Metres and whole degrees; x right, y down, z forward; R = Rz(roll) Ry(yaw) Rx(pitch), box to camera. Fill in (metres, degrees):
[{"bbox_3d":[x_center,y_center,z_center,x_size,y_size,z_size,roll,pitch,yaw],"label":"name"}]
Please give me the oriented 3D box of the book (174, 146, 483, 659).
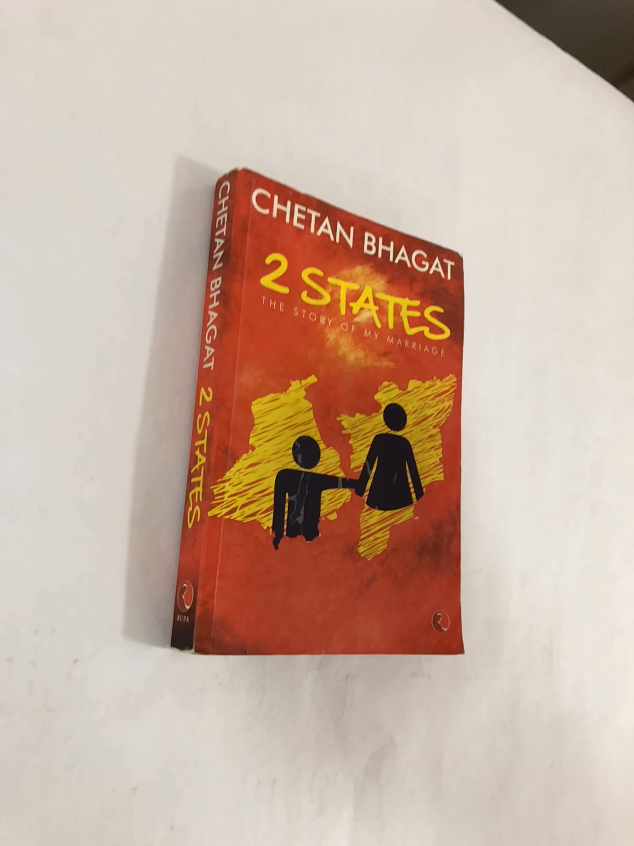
[{"bbox_3d":[0.014,-0.001,0.303,0.123,0.040,0.190,12,74,-33],"label":"book"}]
